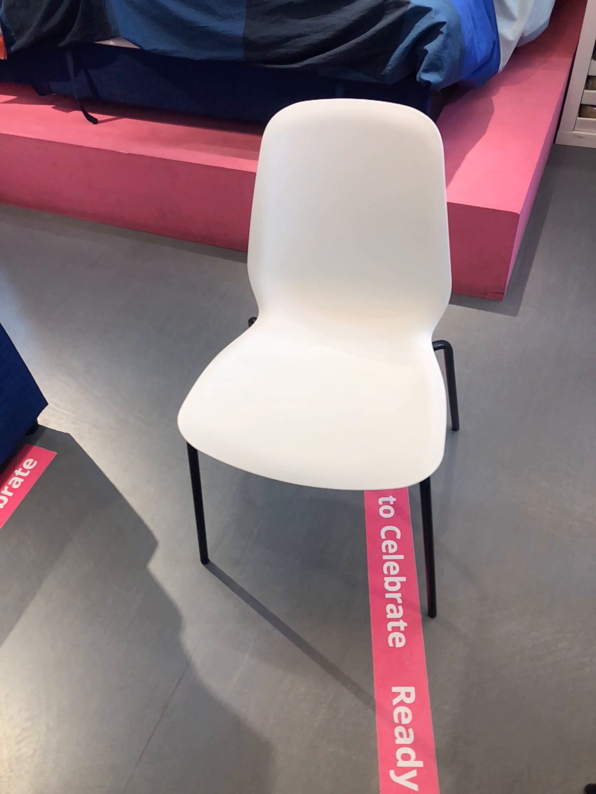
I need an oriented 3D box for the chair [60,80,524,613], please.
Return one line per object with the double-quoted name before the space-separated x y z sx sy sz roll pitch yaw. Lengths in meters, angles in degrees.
"chair" 0.055 -0.060 1.159 0.511 0.756 0.492 9 51 13
